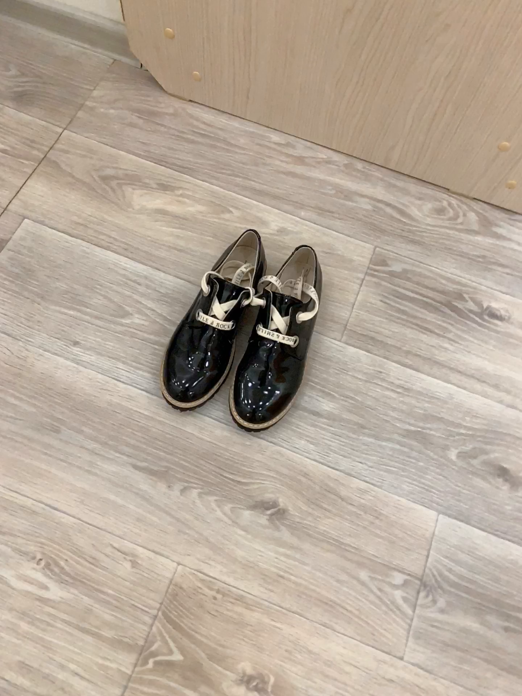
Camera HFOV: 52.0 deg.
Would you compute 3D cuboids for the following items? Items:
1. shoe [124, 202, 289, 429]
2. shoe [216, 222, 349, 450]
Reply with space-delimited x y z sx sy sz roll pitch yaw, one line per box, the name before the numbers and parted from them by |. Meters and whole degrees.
shoe | -0.064 -0.045 0.715 0.100 0.100 0.270 23 67 5
shoe | 0.029 -0.018 0.714 0.100 0.100 0.270 16 67 2
